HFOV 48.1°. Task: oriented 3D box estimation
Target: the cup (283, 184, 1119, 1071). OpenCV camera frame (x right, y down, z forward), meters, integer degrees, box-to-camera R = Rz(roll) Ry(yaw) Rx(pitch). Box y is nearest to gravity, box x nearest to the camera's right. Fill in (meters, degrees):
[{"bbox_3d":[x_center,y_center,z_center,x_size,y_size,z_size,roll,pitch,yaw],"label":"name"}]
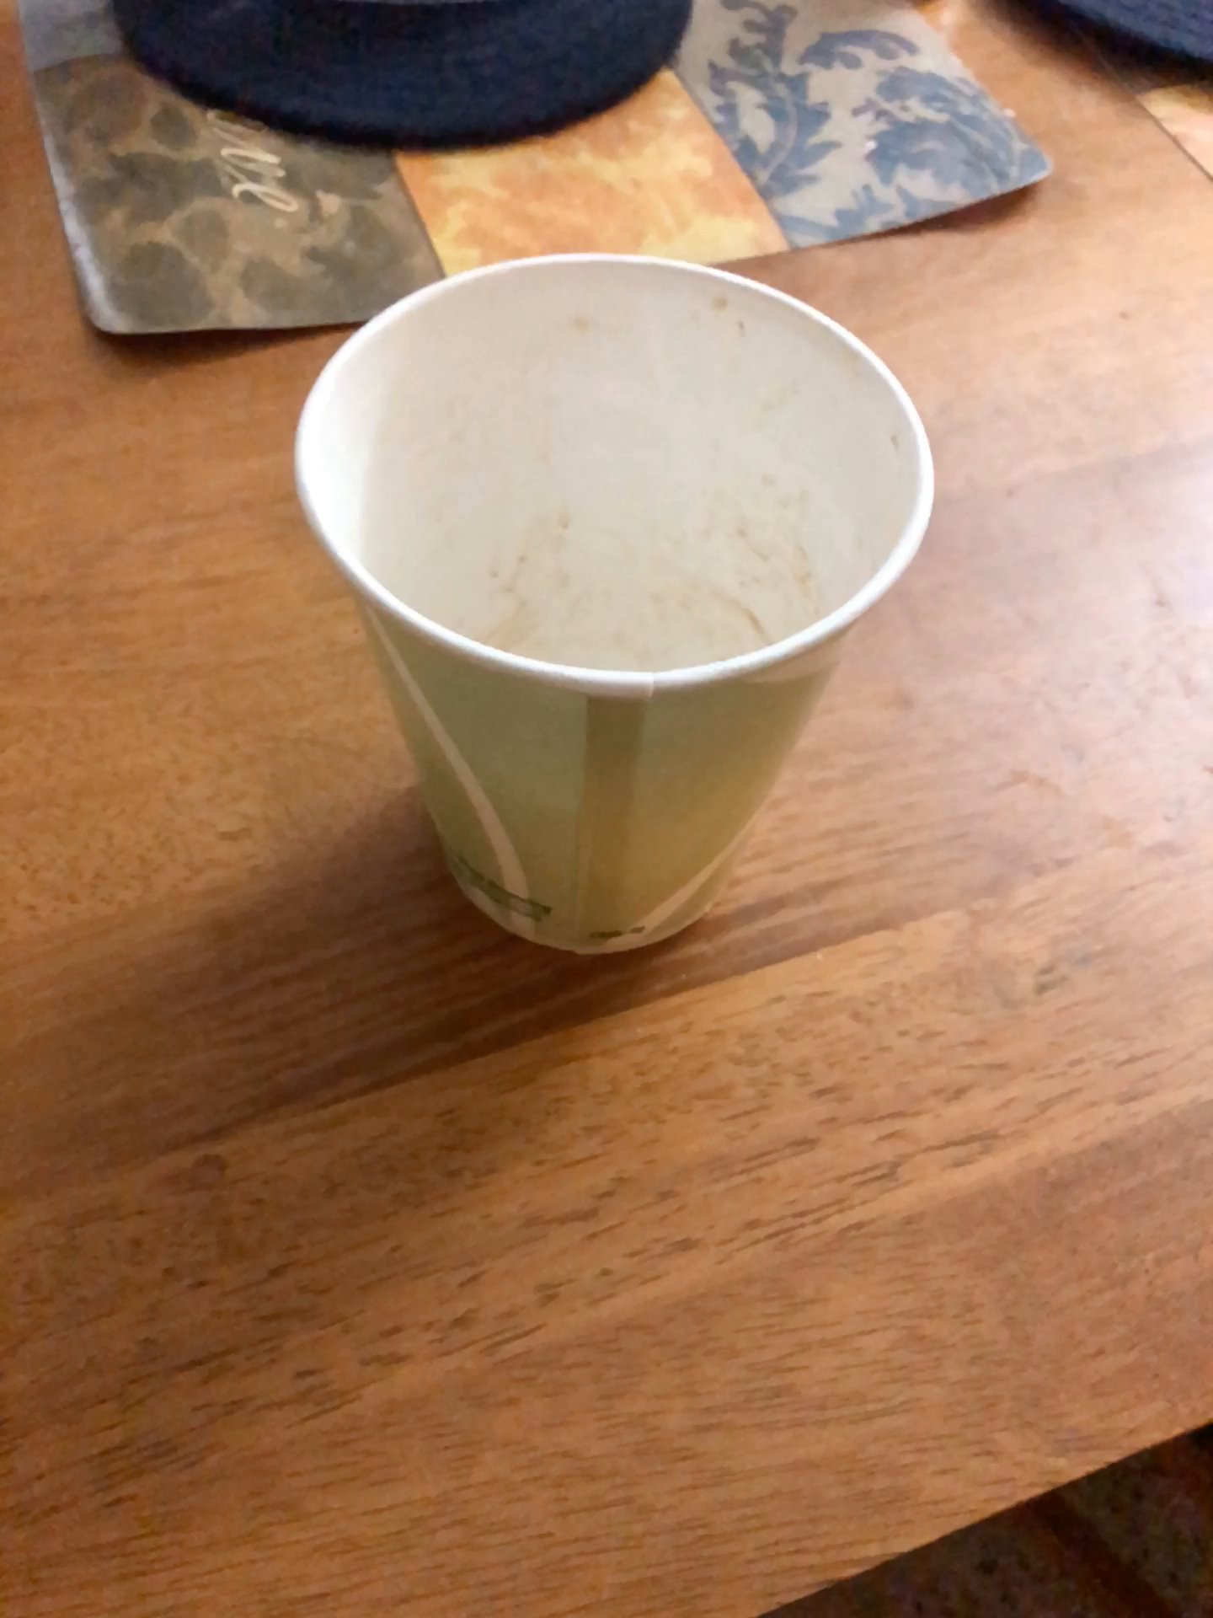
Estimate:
[{"bbox_3d":[0.007,-0.031,0.235,0.090,0.090,0.100,-16,59,-13],"label":"cup"}]
